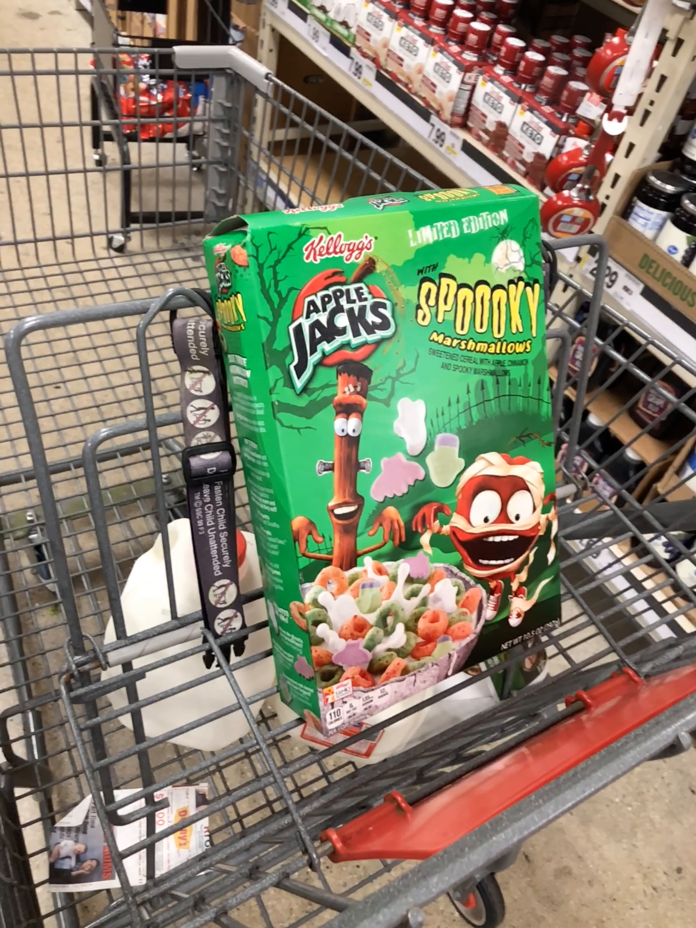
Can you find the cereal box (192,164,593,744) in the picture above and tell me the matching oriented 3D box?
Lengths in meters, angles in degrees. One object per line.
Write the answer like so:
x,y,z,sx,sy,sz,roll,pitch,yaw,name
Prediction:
0.041,-0.015,0.447,0.200,0.280,0.070,-16,19,-28,cereal box
